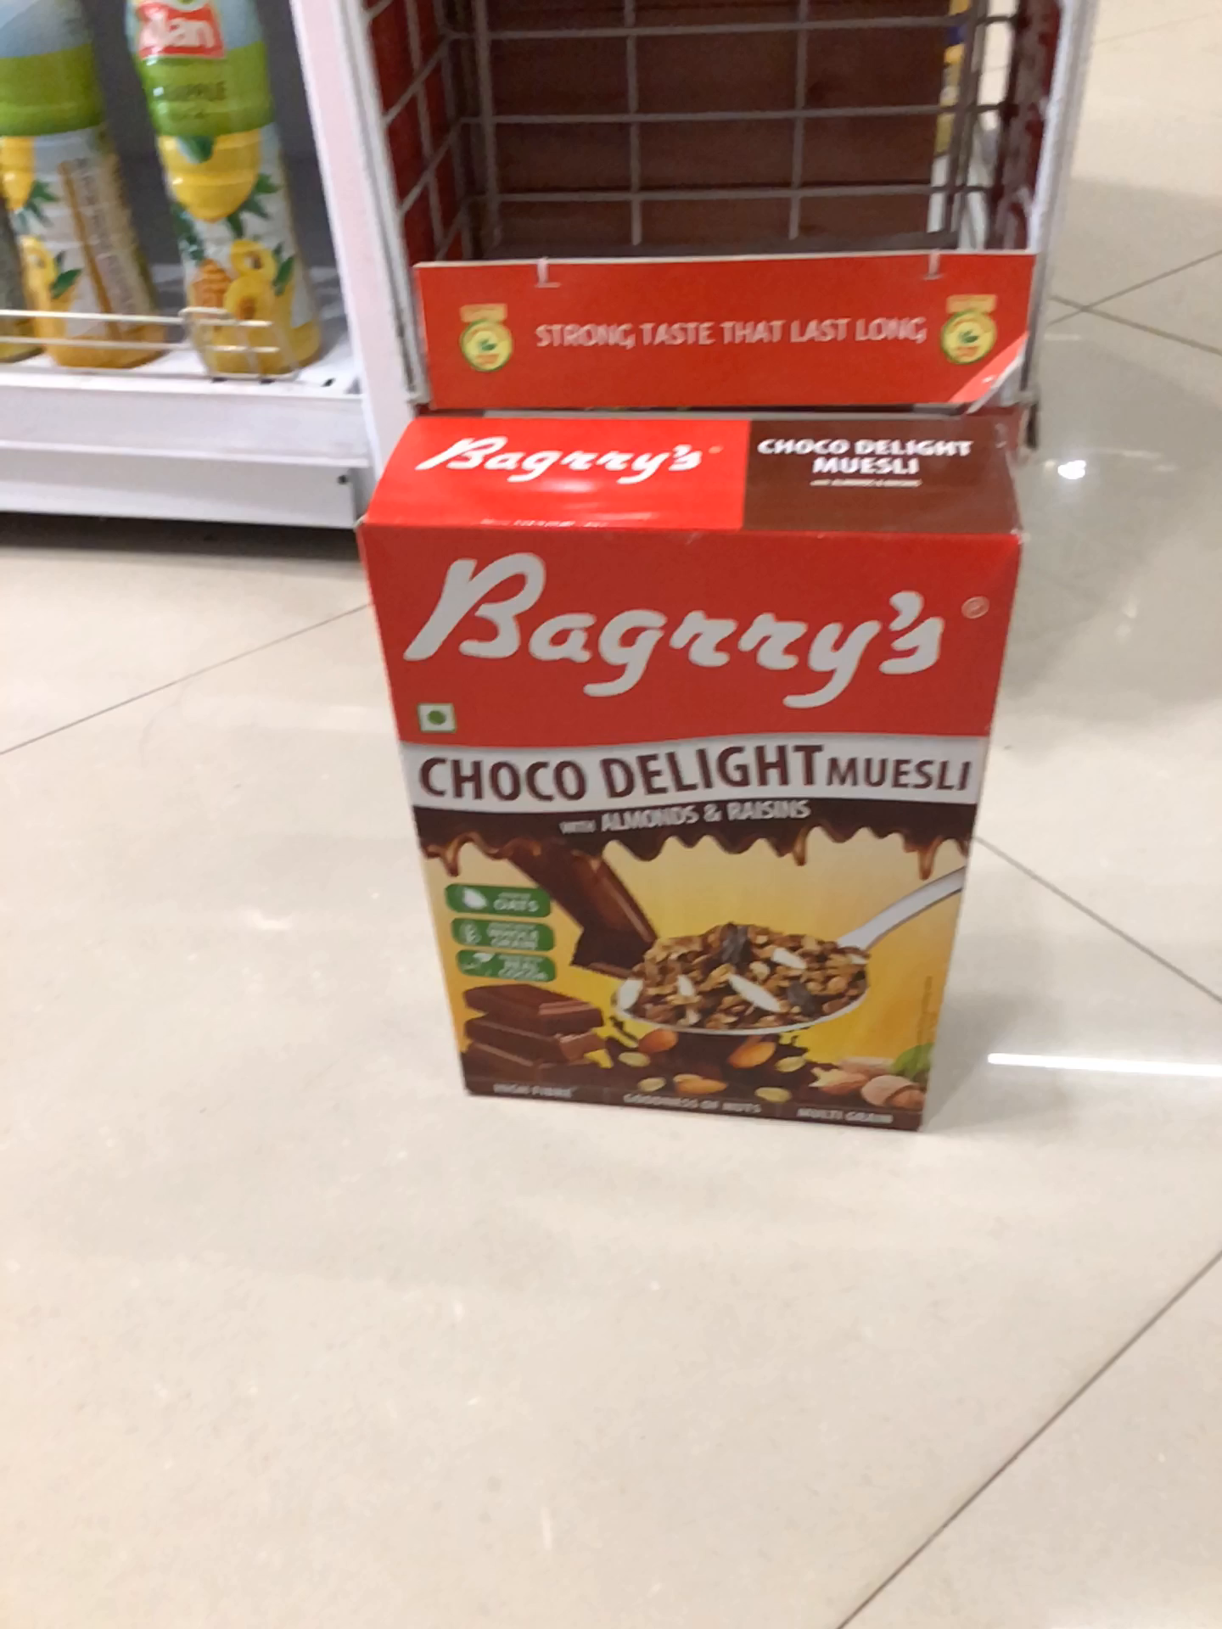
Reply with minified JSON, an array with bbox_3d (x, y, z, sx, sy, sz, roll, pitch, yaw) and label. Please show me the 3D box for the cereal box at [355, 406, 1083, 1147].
[{"bbox_3d":[0.036,0.000,0.462,0.190,0.258,0.070,3,41,7],"label":"cereal box"}]
